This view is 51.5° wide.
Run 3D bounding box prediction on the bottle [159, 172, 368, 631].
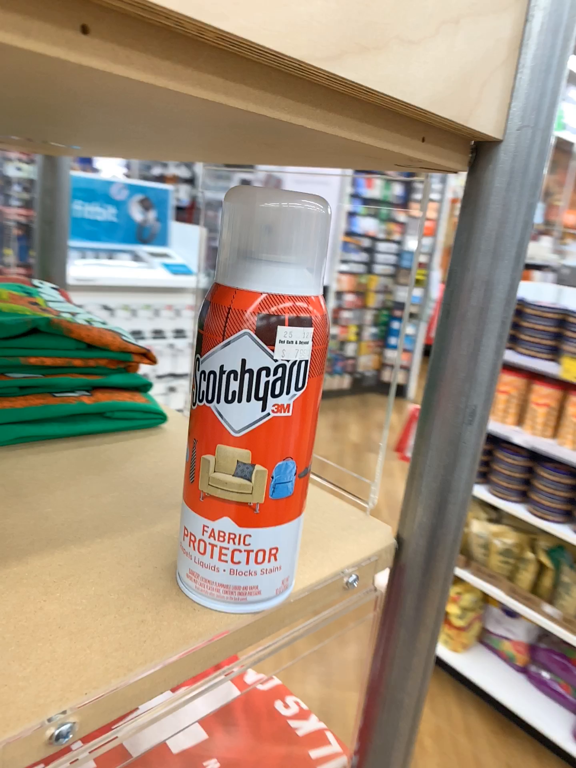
[{"bbox_3d":[-0.012,0.008,0.302,0.069,0.206,0.067,7,15,-2],"label":"bottle"}]
